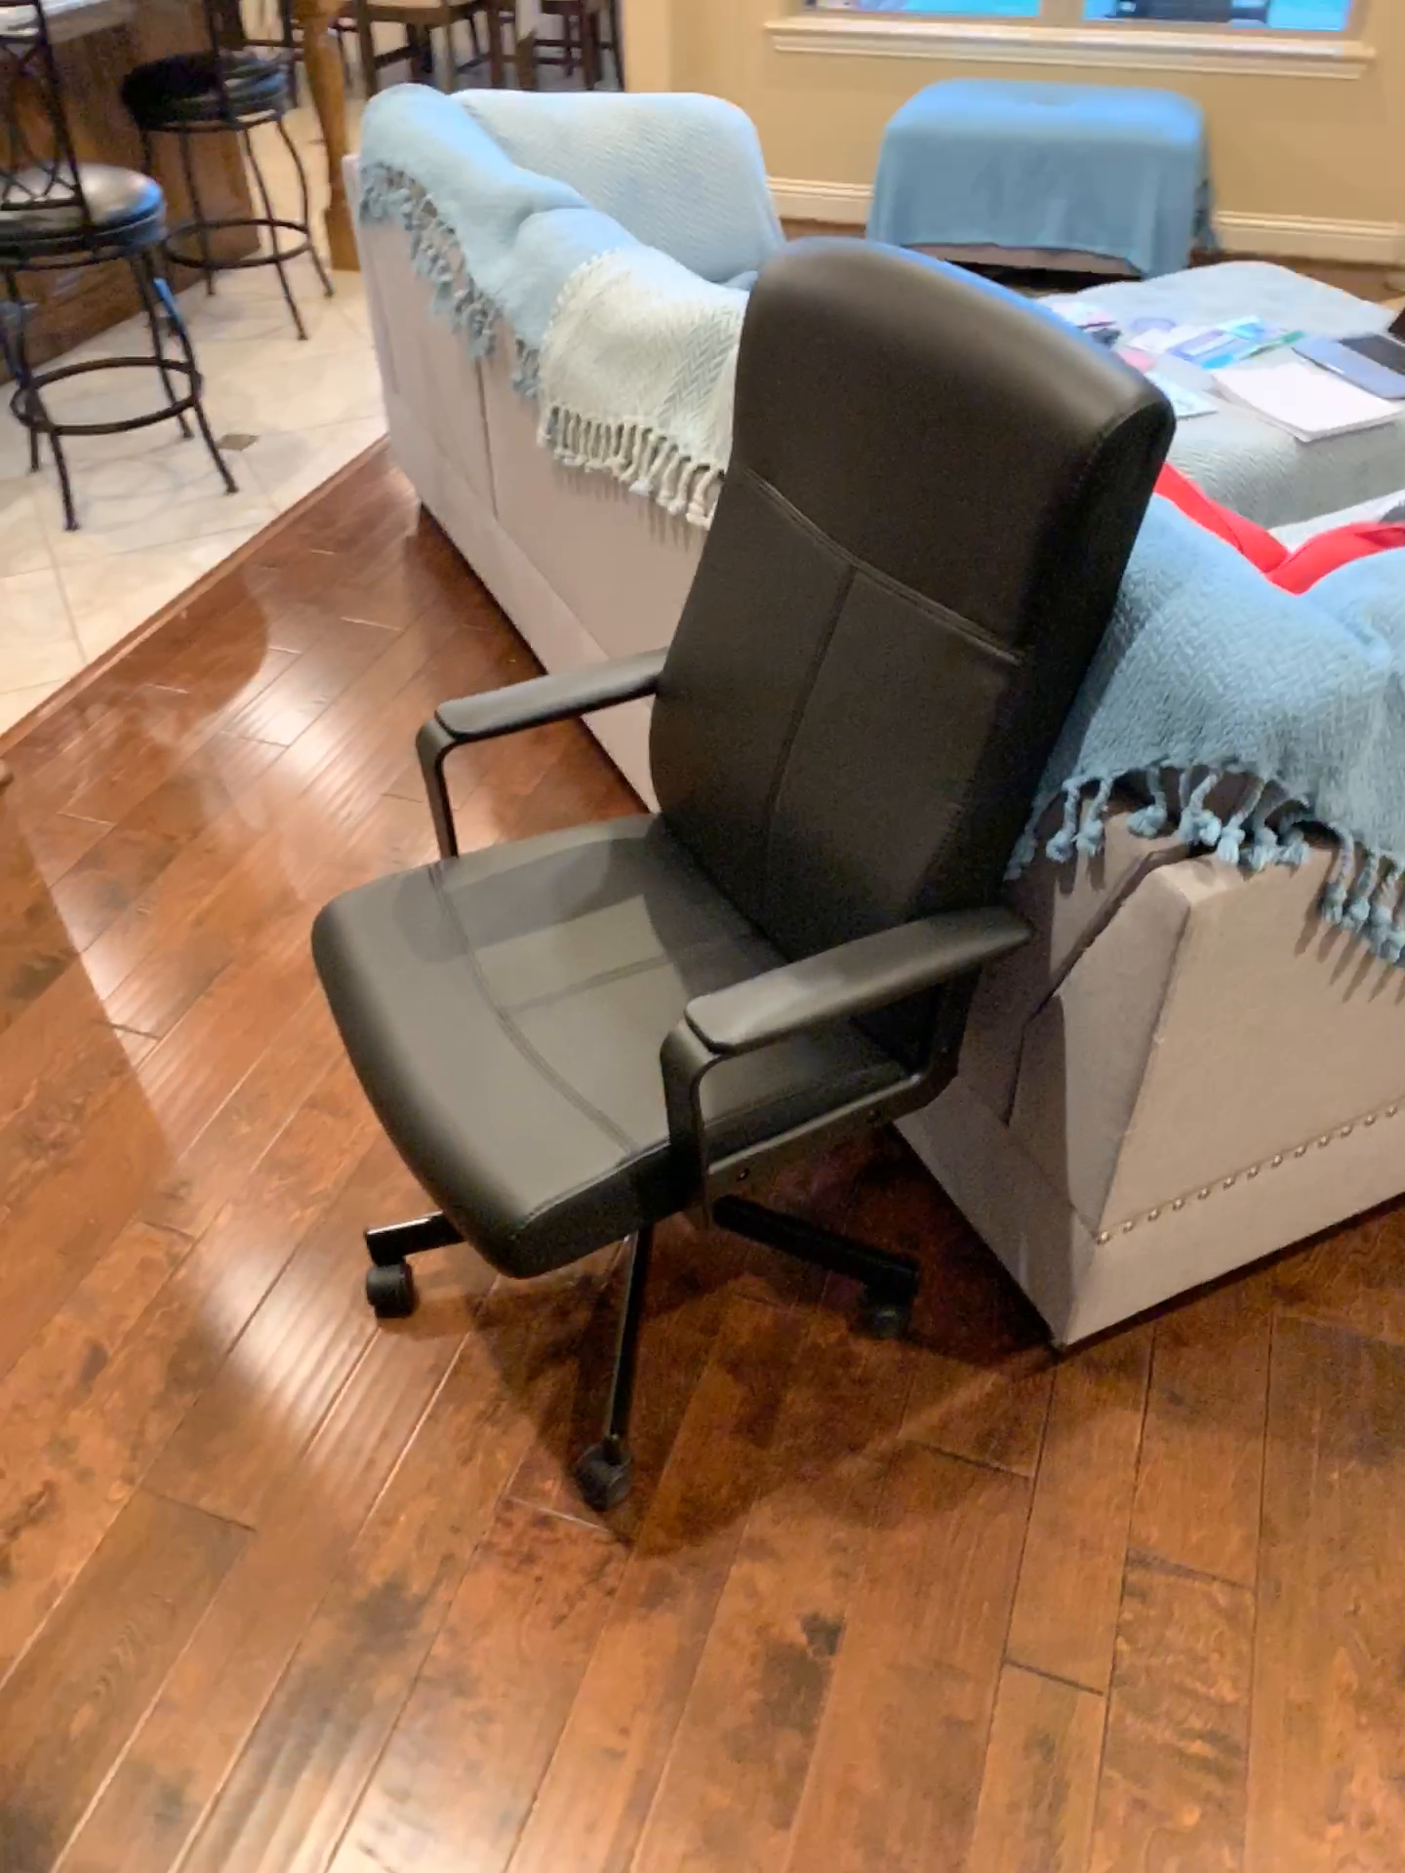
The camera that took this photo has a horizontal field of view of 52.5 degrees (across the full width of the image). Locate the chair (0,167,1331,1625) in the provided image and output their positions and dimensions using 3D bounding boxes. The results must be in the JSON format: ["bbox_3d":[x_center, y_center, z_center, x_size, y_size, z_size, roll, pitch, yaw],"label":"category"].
[{"bbox_3d":[-0.076,-0.058,1.415,0.760,1.037,0.737,-20,45,-20],"label":"chair"}]
